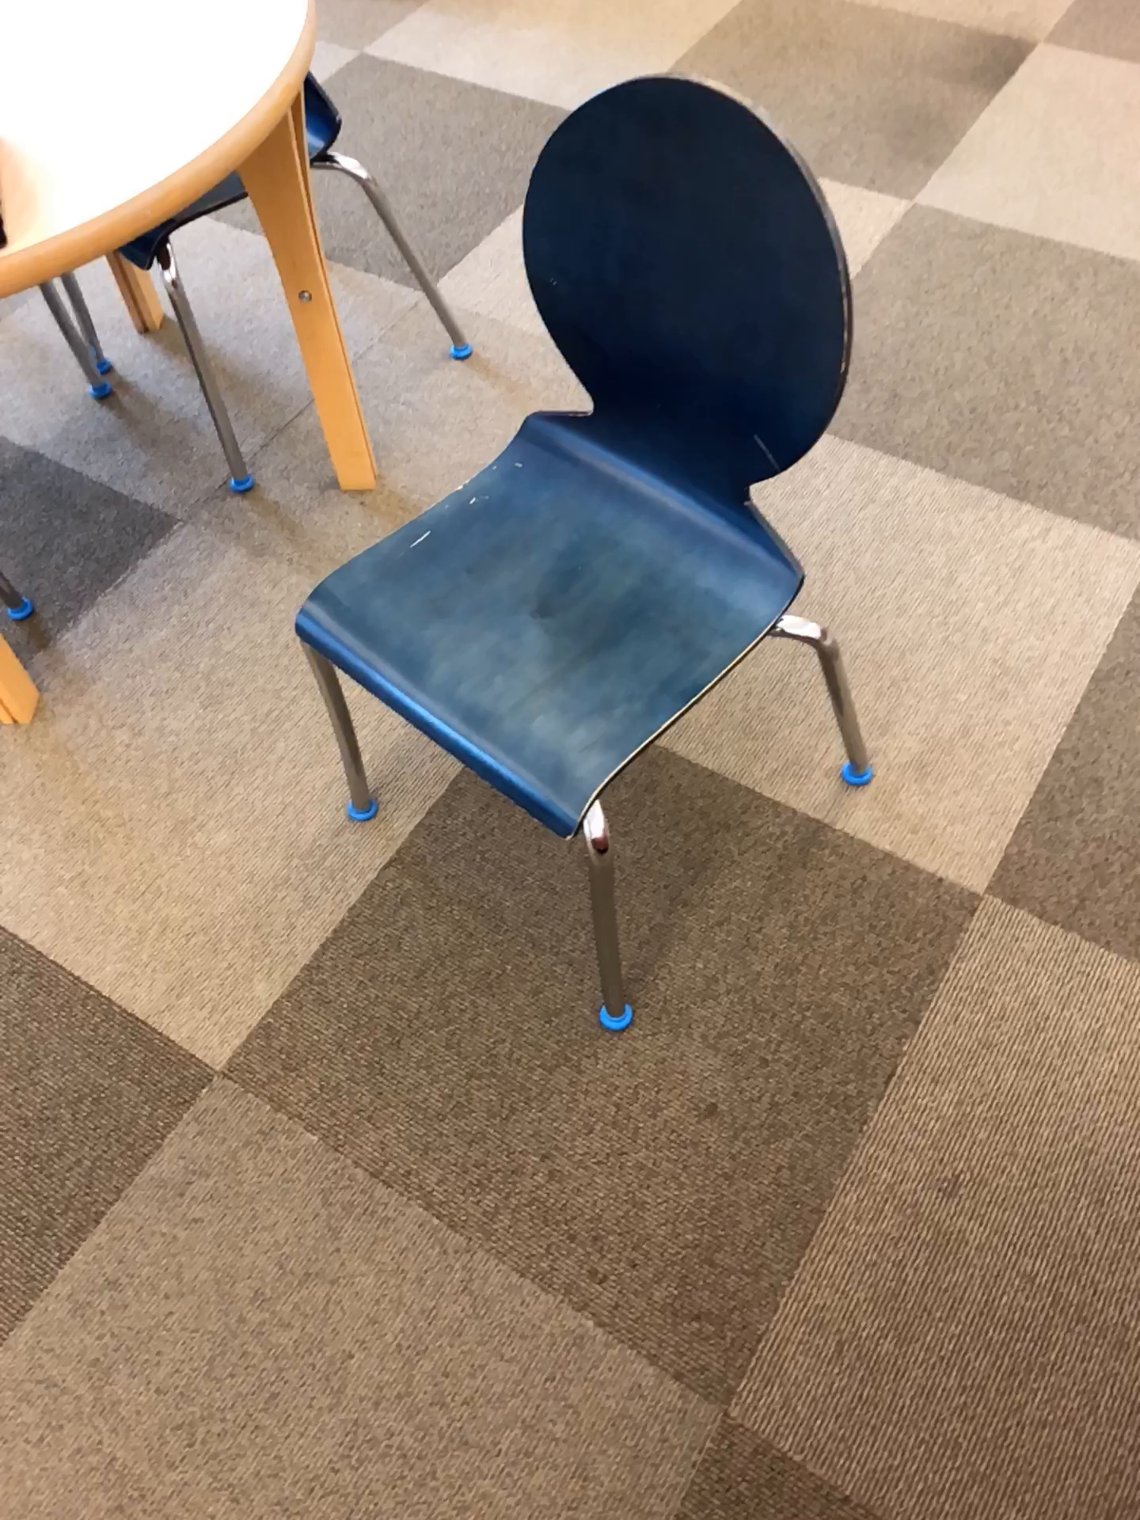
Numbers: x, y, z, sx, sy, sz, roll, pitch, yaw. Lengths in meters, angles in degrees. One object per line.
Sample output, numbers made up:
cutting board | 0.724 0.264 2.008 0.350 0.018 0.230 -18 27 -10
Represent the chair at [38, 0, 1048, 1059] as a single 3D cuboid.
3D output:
chair | -0.003 -0.189 1.131 0.498 0.699 0.474 36 65 25
